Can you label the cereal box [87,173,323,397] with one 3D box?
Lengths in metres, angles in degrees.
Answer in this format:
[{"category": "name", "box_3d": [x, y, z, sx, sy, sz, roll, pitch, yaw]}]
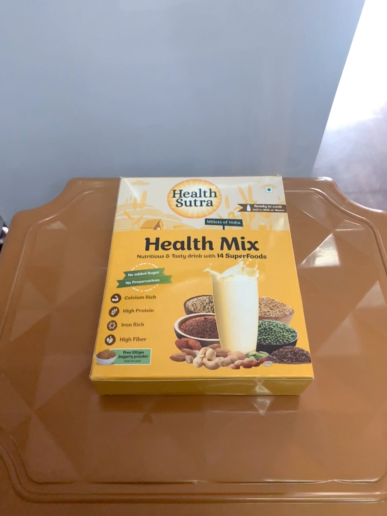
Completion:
[{"category": "cereal box", "box_3d": [0.005, 0.011, 0.282, 0.130, 0.040, 0.161, 0, 55, -1]}]
